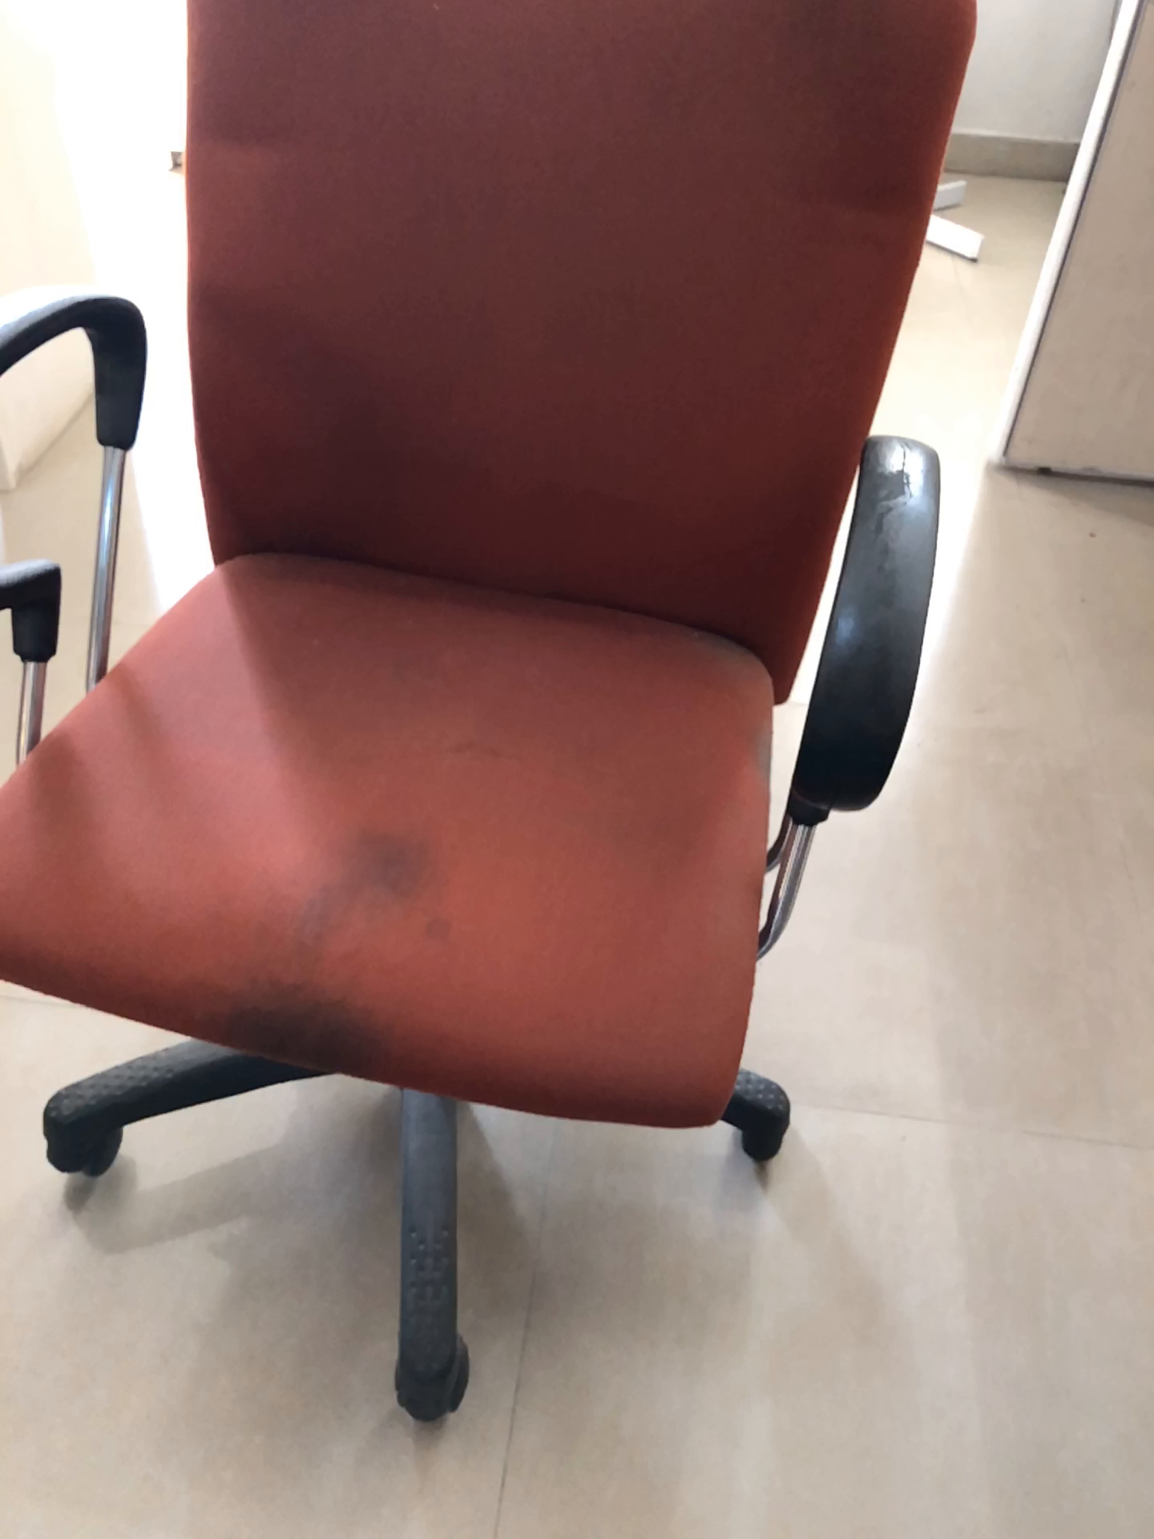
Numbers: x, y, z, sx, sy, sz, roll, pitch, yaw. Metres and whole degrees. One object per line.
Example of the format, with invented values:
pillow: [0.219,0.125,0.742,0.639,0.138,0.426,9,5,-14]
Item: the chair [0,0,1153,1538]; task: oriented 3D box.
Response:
chair: [-0.097,-0.030,0.960,0.770,1.043,0.705,11,42,8]
